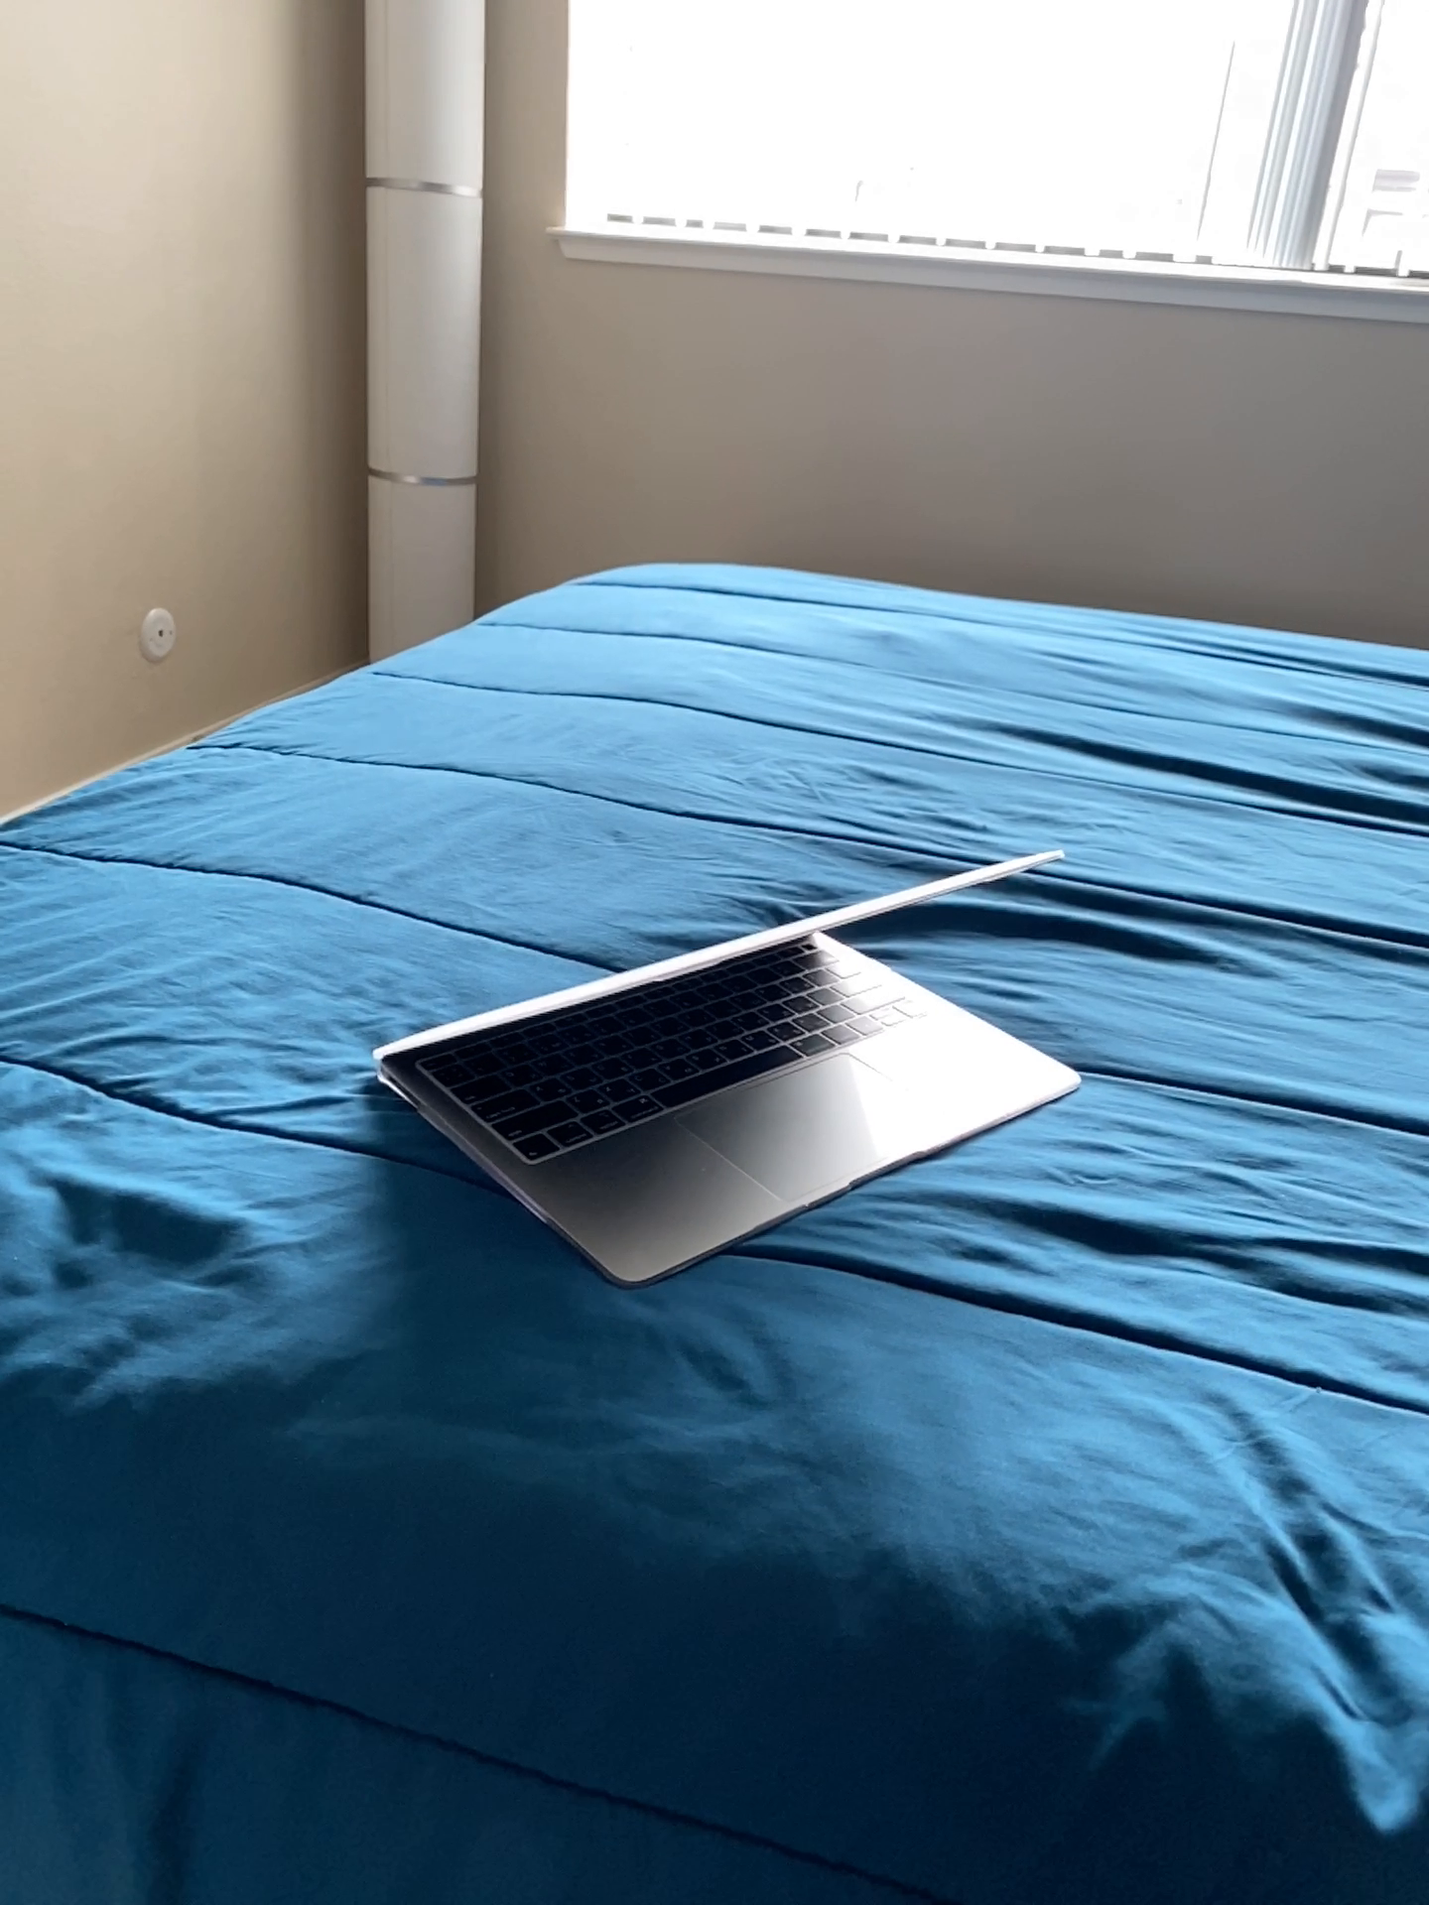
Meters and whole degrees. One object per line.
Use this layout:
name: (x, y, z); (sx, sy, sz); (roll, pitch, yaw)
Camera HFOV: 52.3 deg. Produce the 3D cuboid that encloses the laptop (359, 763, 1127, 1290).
laptop: (0.016, 0.013, 0.747); (0.311, 0.106, 0.219); (-17, 35, -37)
